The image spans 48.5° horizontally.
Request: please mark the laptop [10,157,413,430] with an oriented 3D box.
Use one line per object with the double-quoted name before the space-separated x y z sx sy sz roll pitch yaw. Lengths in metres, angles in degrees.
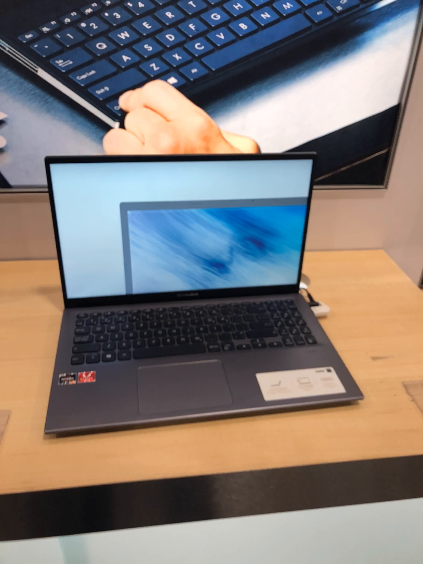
"laptop" -0.013 -0.008 0.558 0.349 0.211 0.242 -3 31 -9
